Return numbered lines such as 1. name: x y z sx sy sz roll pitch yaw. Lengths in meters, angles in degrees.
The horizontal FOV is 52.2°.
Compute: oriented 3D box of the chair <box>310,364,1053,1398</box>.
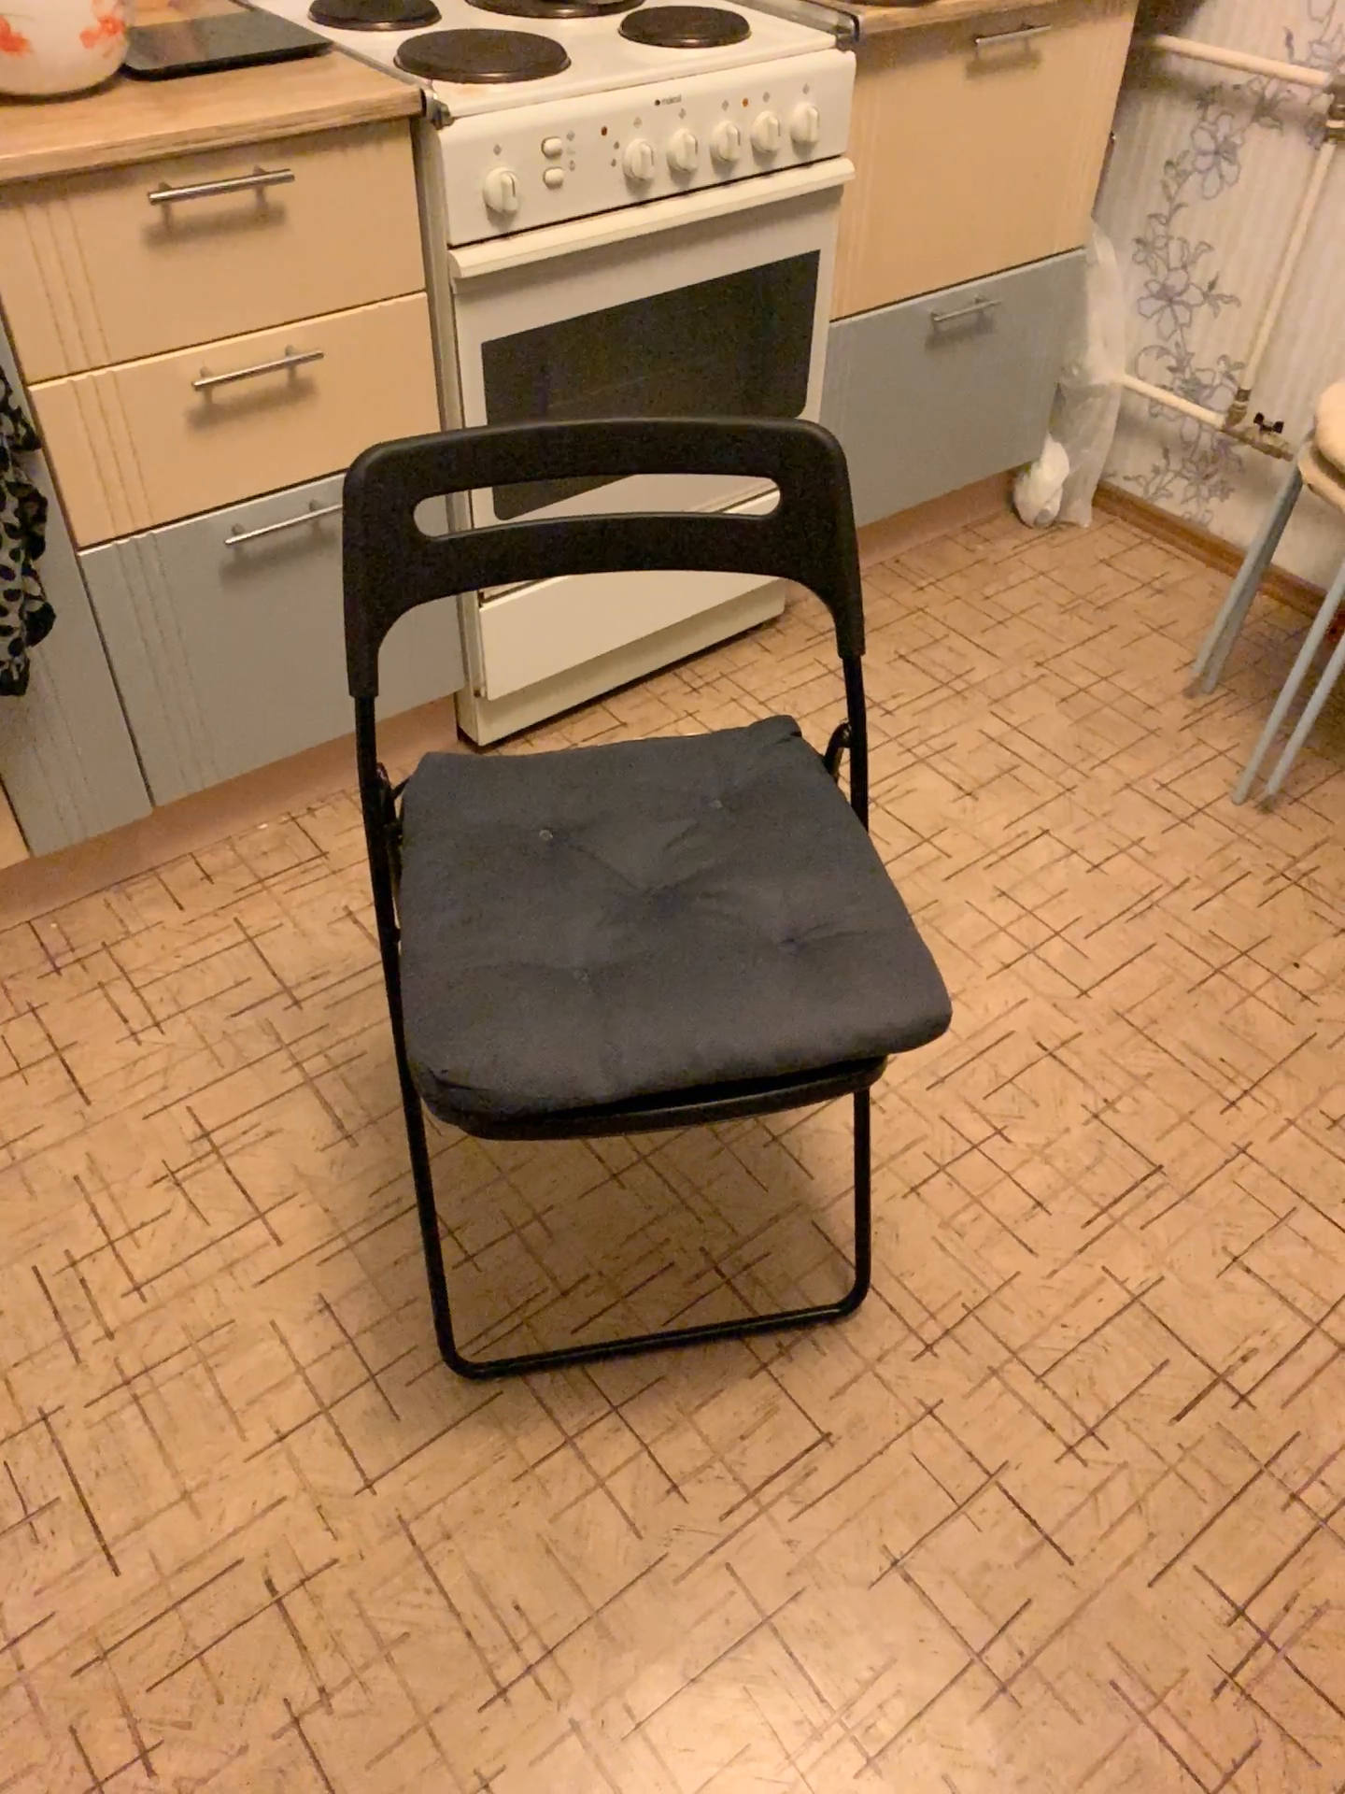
1. chair: -0.039 0.009 1.256 0.440 0.776 0.482 -8 45 -10
